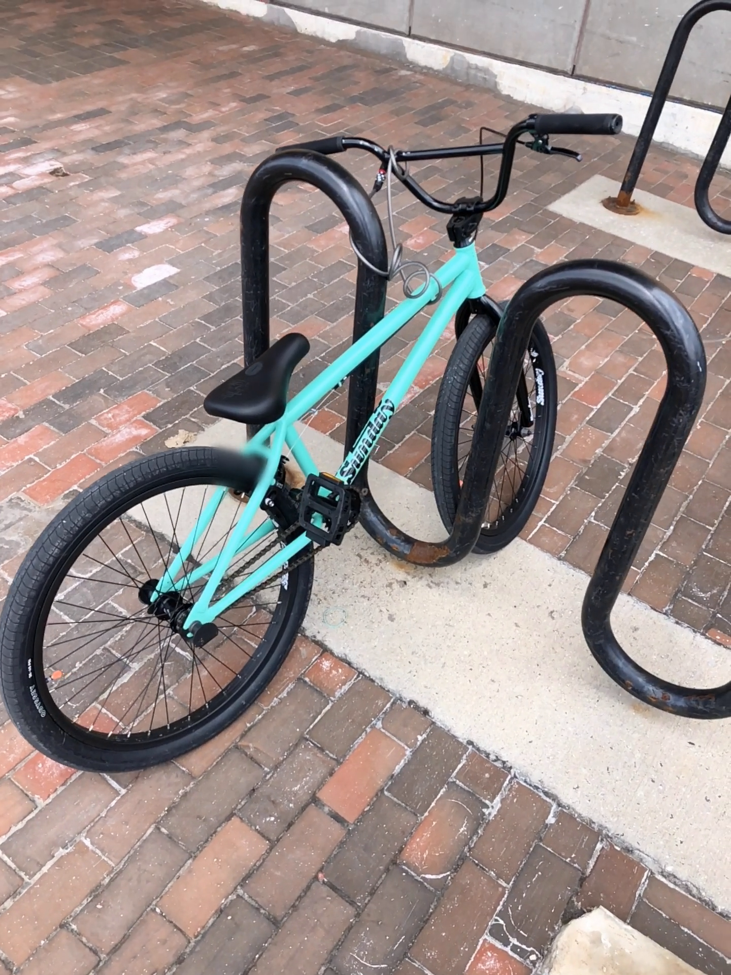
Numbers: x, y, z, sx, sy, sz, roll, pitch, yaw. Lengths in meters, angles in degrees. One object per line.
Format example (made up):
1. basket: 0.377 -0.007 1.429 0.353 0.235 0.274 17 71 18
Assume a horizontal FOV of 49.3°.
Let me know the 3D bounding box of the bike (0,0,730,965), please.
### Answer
1. bike: -0.039 -0.188 1.506 0.811 1.067 1.468 33 50 28
